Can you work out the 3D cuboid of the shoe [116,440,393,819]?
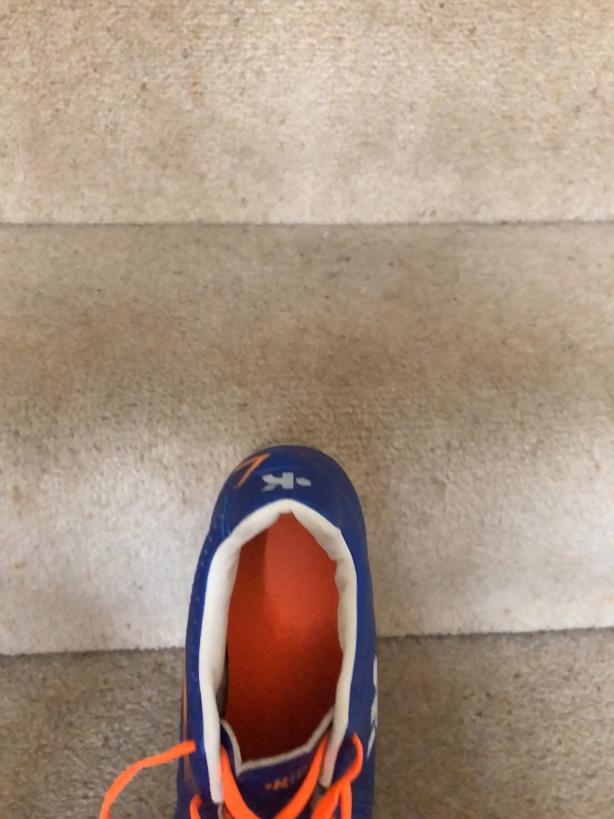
[{"bbox_3d":[-0.019,0.120,0.257,0.070,0.210,0.100,4,-2,-4],"label":"shoe"}]
